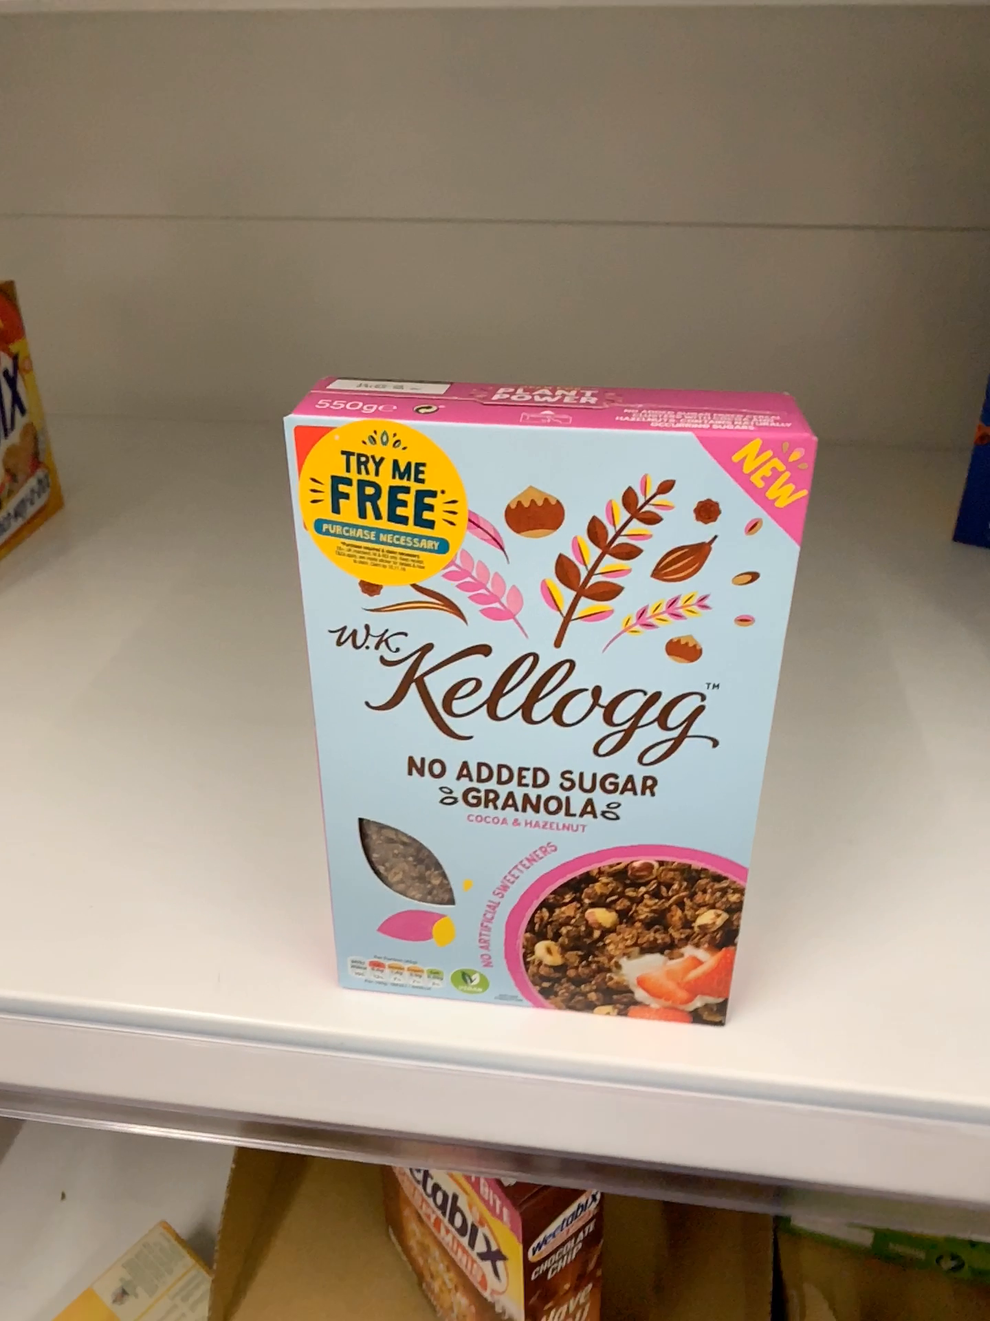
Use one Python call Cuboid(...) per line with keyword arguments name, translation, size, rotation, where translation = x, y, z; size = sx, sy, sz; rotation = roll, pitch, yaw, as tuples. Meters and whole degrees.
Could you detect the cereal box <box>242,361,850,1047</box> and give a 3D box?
Cuboid(name="cereal box", translation=(0.016, 0.026, 0.369), size=(0.170, 0.248, 0.050), rotation=(4, 31, 7))
